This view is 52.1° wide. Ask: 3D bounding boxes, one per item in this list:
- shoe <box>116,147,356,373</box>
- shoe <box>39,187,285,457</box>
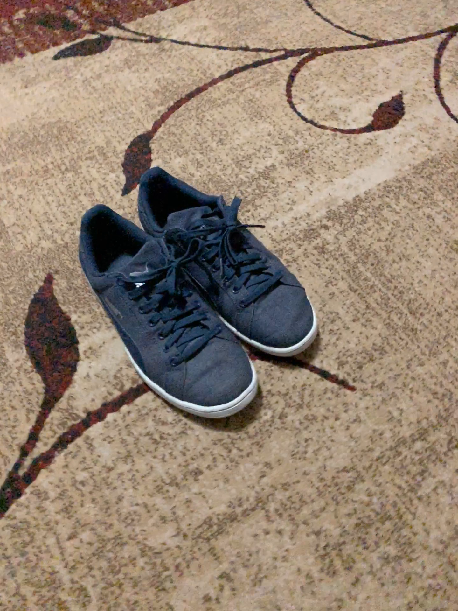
[{"bbox_3d":[-0.002,-0.063,0.518,0.099,0.050,0.276,-36,64,-19],"label":"shoe"},{"bbox_3d":[-0.076,0.007,0.501,0.106,0.090,0.276,-35,64,-18],"label":"shoe"}]
